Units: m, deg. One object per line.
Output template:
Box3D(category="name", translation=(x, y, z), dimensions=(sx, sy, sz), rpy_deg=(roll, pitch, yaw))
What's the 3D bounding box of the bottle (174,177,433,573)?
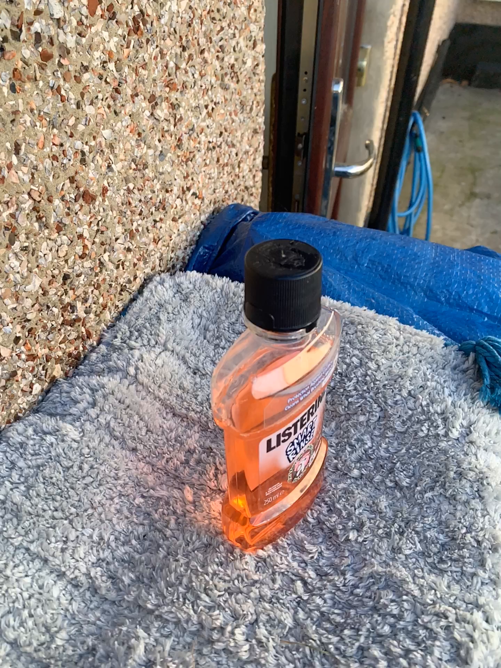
Box3D(category="bottle", translation=(0.022, 0.025, 0.239), dimensions=(0.050, 0.158, 0.091), rpy_deg=(29, 50, 28))
